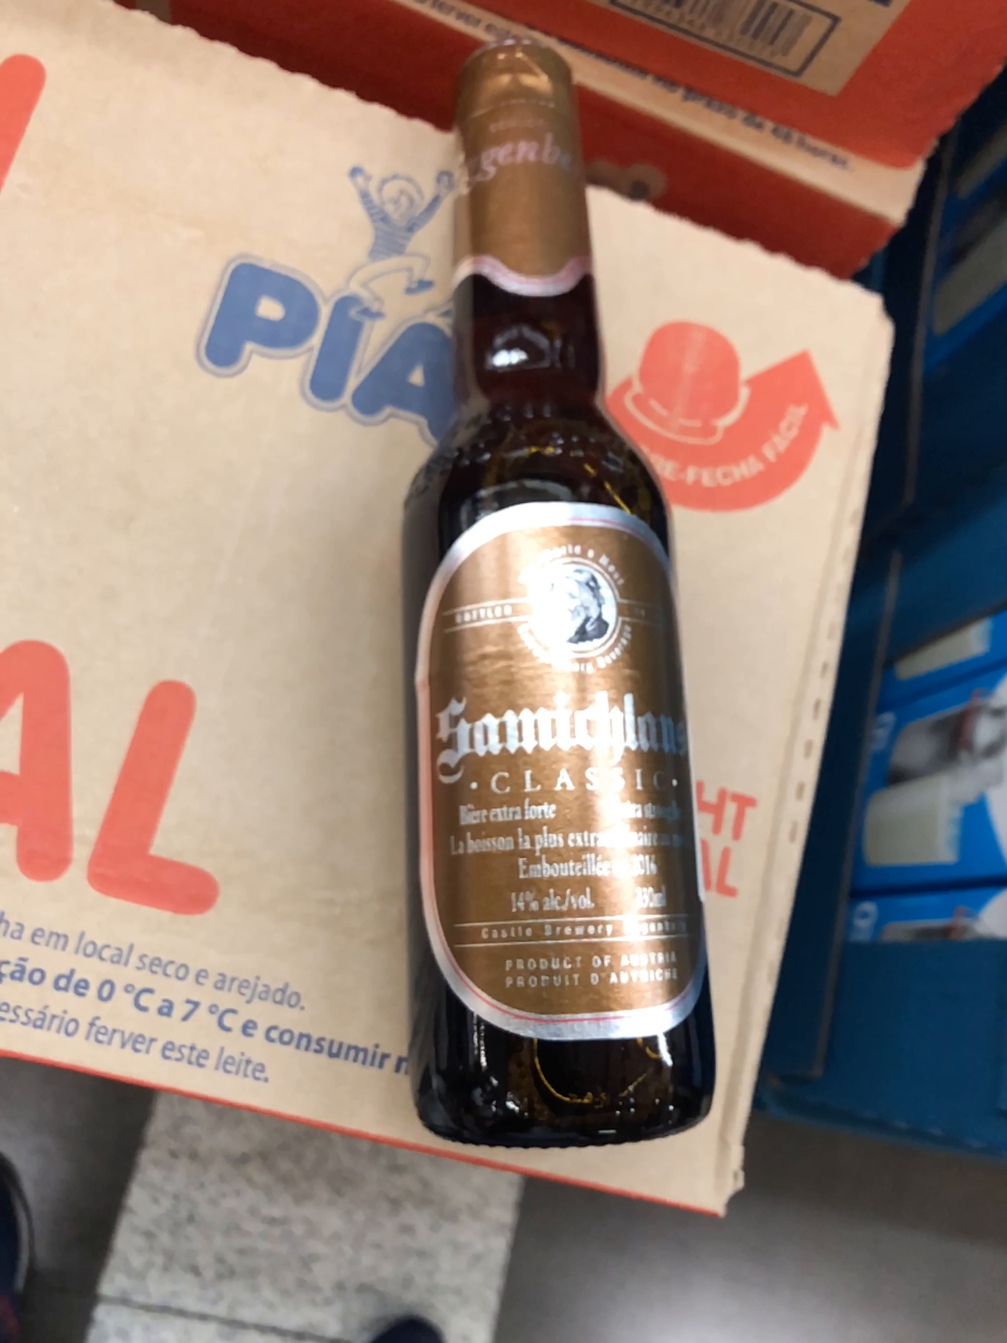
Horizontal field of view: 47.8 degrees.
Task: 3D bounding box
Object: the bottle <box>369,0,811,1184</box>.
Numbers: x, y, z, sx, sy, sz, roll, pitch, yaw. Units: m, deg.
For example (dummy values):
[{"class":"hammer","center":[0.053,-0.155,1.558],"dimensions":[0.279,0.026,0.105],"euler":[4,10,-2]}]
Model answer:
[{"class":"bottle","center":[0.009,-0.039,0.230],"dimensions":[0.060,0.050,0.250],"euler":[0,77,-14]}]
